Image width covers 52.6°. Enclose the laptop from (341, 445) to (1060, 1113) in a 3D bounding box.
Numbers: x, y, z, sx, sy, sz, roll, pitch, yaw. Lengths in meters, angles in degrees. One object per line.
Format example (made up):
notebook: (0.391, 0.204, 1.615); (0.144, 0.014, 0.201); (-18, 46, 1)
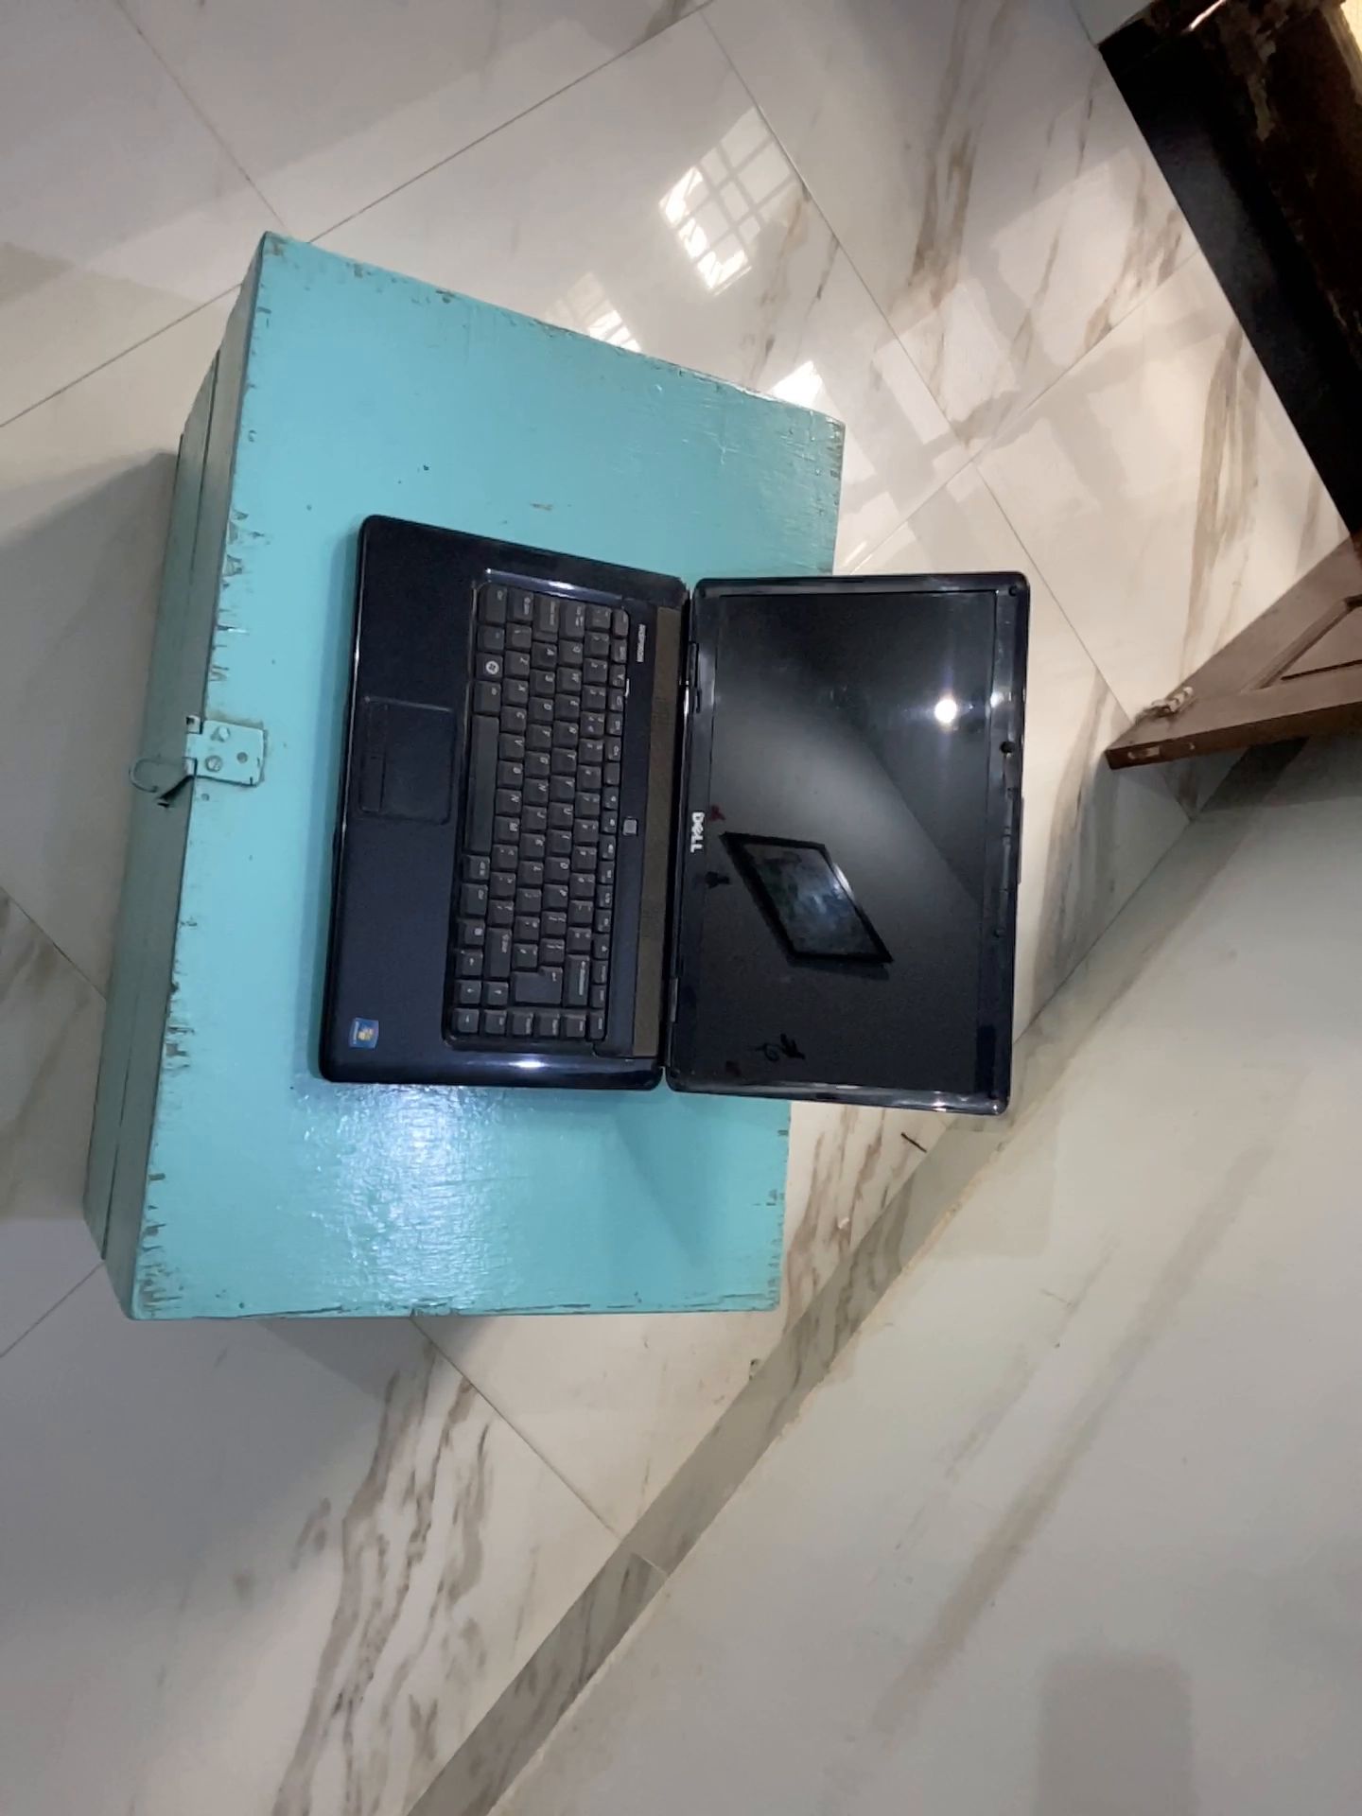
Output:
laptop: (0.021, -0.056, 0.907); (0.413, 0.162, 0.363); (5, 85, -25)
